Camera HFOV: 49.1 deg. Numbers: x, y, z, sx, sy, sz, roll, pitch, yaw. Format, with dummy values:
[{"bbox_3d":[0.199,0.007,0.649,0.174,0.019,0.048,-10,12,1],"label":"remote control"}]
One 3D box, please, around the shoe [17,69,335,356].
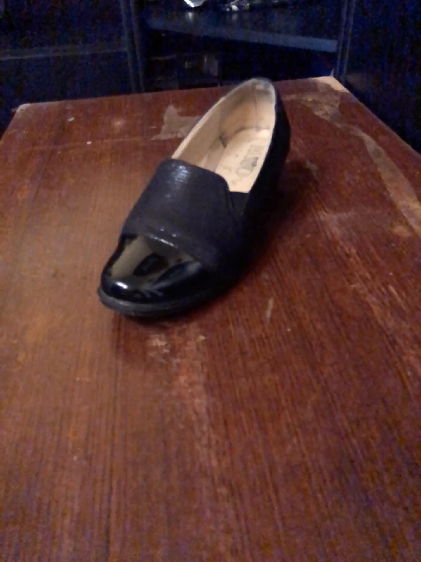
[{"bbox_3d":[-0.001,-0.070,0.331,0.089,0.090,0.236,20,44,26],"label":"shoe"}]
